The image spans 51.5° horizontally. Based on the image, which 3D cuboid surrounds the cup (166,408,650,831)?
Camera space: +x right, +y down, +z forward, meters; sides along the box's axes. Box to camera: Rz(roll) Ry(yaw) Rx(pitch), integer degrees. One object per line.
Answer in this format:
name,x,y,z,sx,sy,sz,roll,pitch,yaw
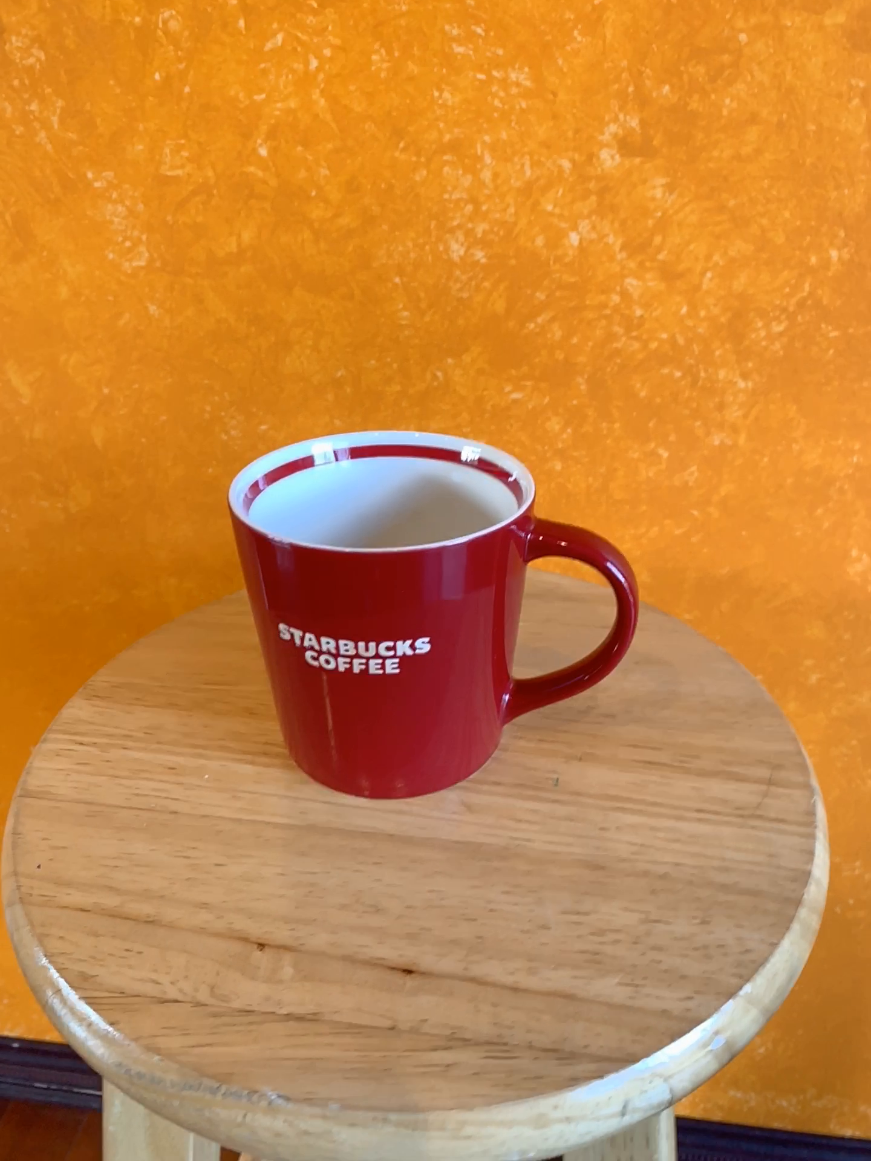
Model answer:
cup,-0.001,0.007,0.321,0.140,0.099,0.101,5,29,10
